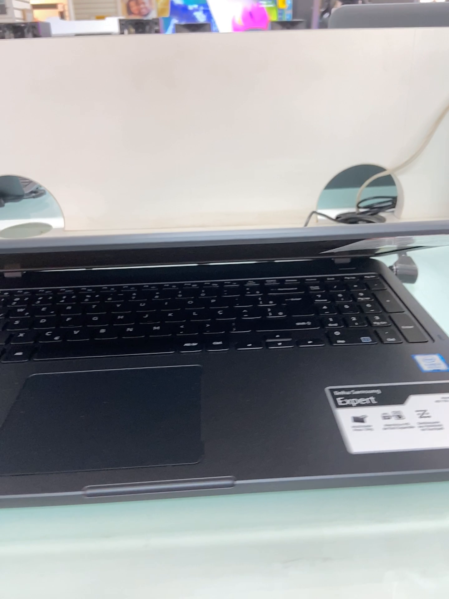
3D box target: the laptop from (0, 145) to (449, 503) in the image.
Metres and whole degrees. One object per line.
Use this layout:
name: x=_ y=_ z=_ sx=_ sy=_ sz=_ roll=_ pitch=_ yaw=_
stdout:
laptop: x=-0.034 y=-0.017 z=0.299 sx=0.376 sy=0.101 sz=0.234 roll=-3 pitch=29 yaw=-2
